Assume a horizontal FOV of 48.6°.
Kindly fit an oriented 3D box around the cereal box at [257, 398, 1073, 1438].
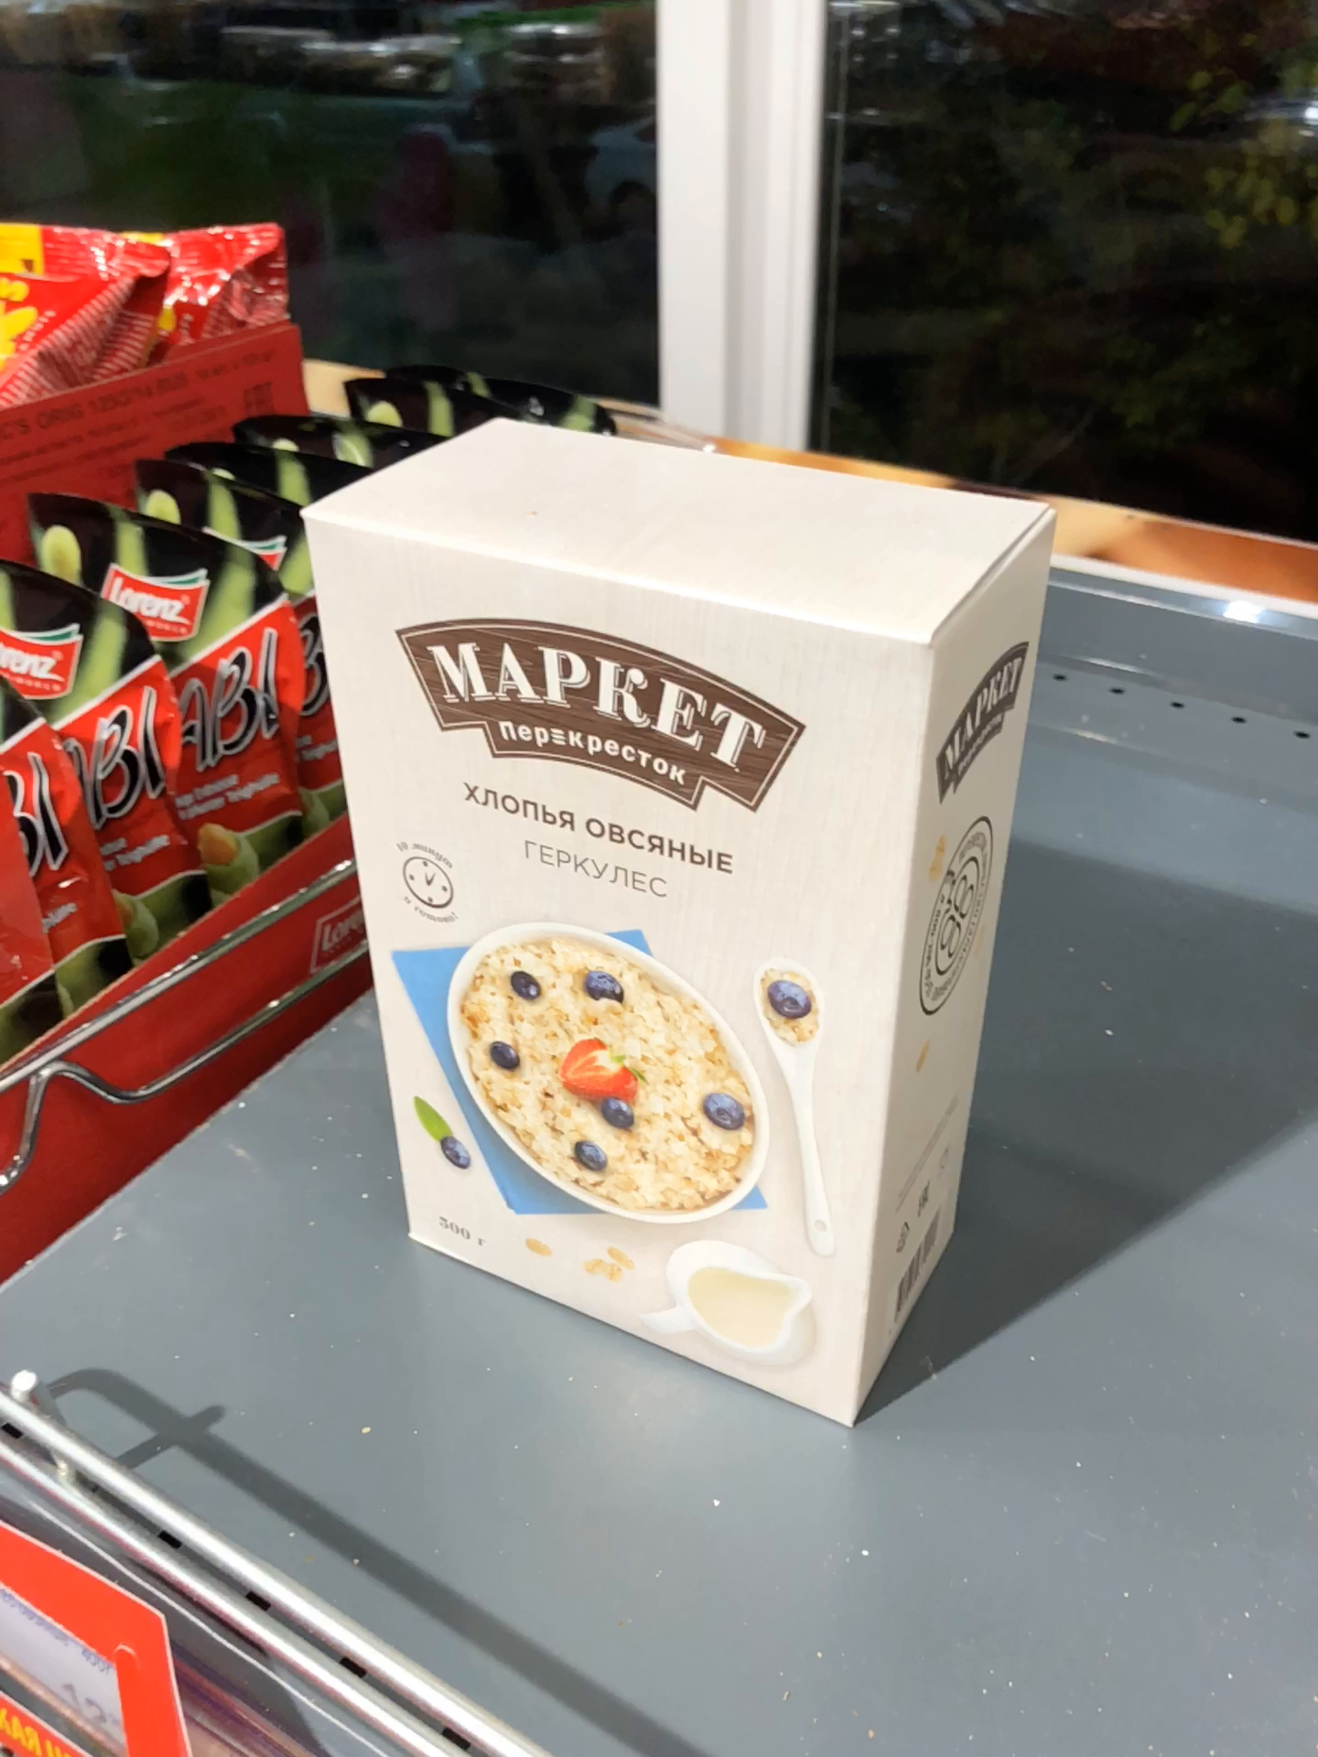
[{"bbox_3d":[0.002,0.009,0.316,0.130,0.189,0.070,16,37,23],"label":"cereal box"}]
